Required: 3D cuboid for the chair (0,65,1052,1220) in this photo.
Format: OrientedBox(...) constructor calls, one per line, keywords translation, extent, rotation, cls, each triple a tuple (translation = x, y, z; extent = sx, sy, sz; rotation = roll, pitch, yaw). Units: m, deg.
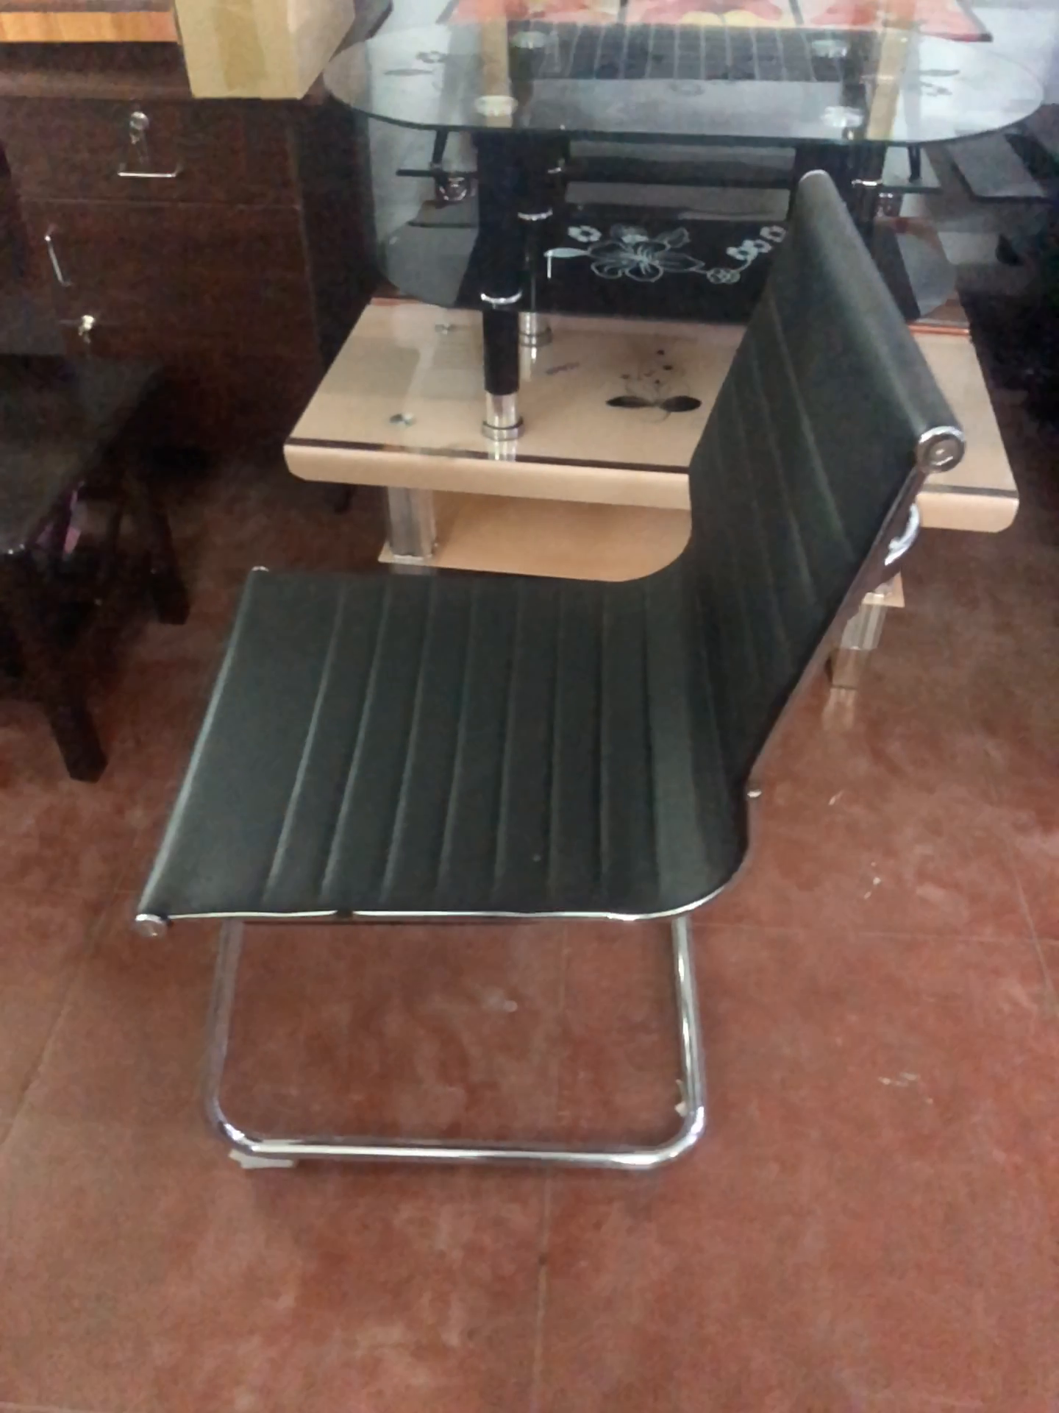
OrientedBox(translation=(-0.086, -0.030, 1.058), extent=(0.680, 0.856, 0.593), rotation=(1, 42, 1), cls="chair")
